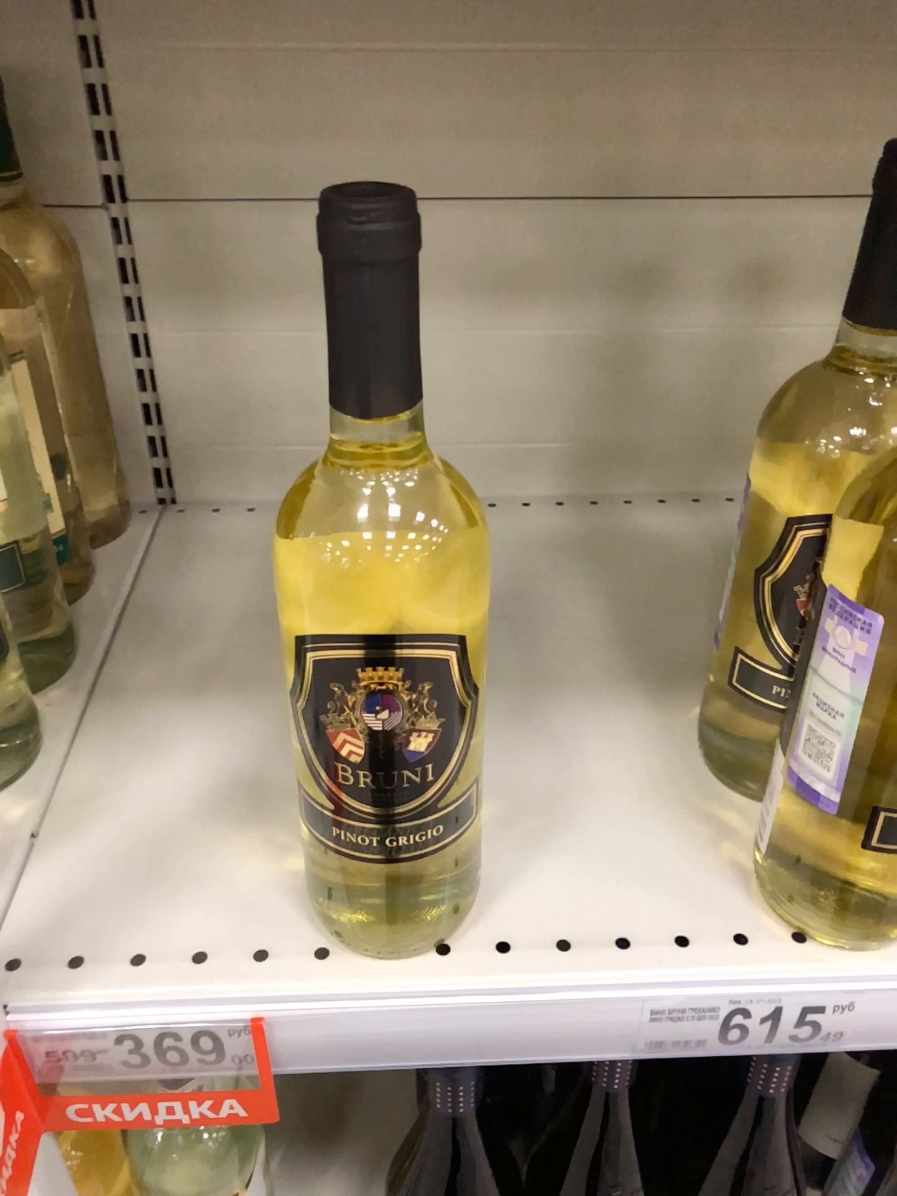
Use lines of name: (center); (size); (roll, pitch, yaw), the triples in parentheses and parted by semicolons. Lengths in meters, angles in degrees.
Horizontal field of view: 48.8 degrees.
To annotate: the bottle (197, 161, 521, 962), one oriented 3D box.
bottle: (-0.024, 0.005, 0.357); (0.080, 0.288, 0.080); (0, 33, 0)
